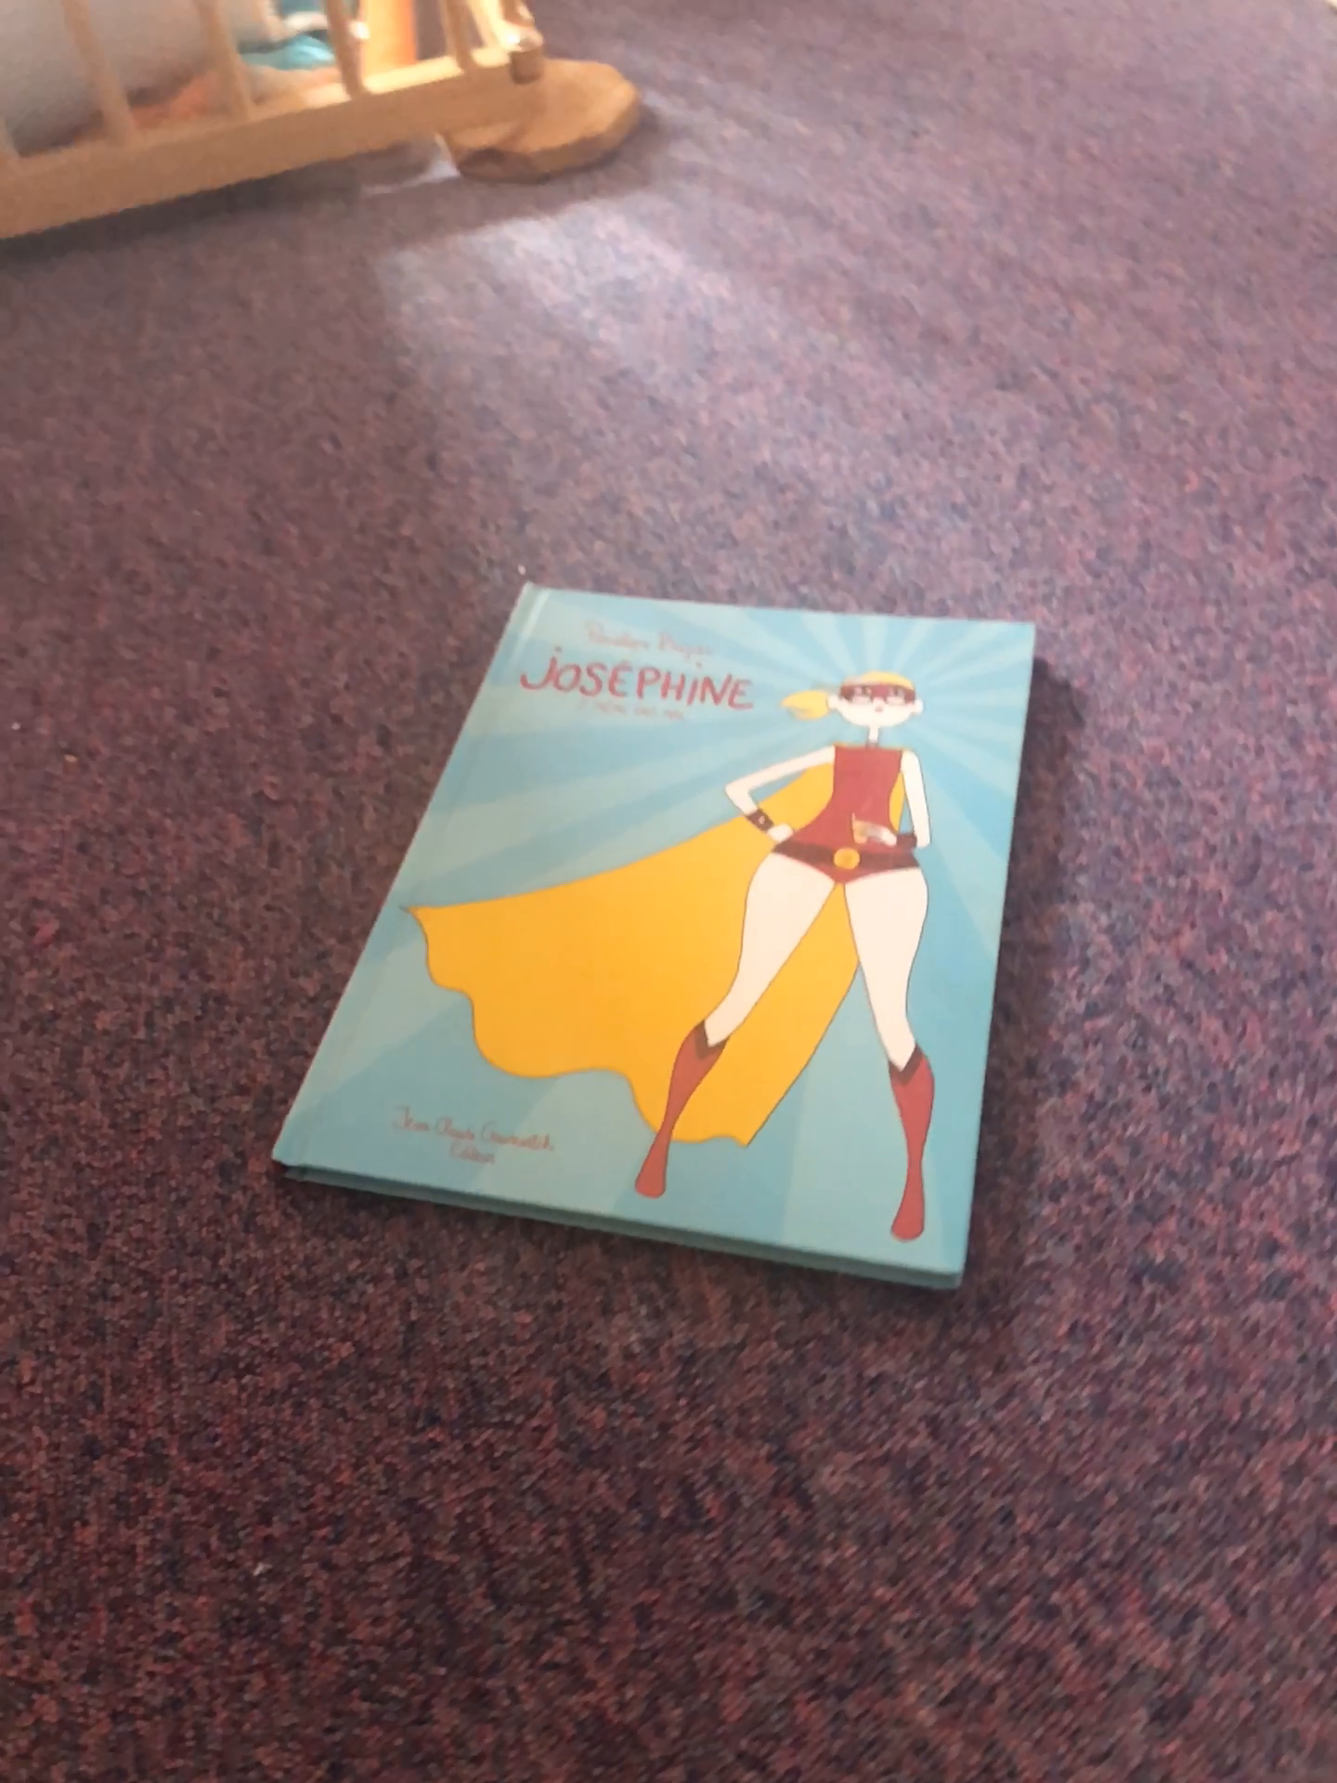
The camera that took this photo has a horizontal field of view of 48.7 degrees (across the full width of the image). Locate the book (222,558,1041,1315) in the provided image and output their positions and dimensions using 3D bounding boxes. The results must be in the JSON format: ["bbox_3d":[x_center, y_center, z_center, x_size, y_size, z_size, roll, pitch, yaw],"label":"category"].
[{"bbox_3d":[0.007,-0.012,0.549,0.234,0.020,0.308,7,51,12],"label":"book"}]
